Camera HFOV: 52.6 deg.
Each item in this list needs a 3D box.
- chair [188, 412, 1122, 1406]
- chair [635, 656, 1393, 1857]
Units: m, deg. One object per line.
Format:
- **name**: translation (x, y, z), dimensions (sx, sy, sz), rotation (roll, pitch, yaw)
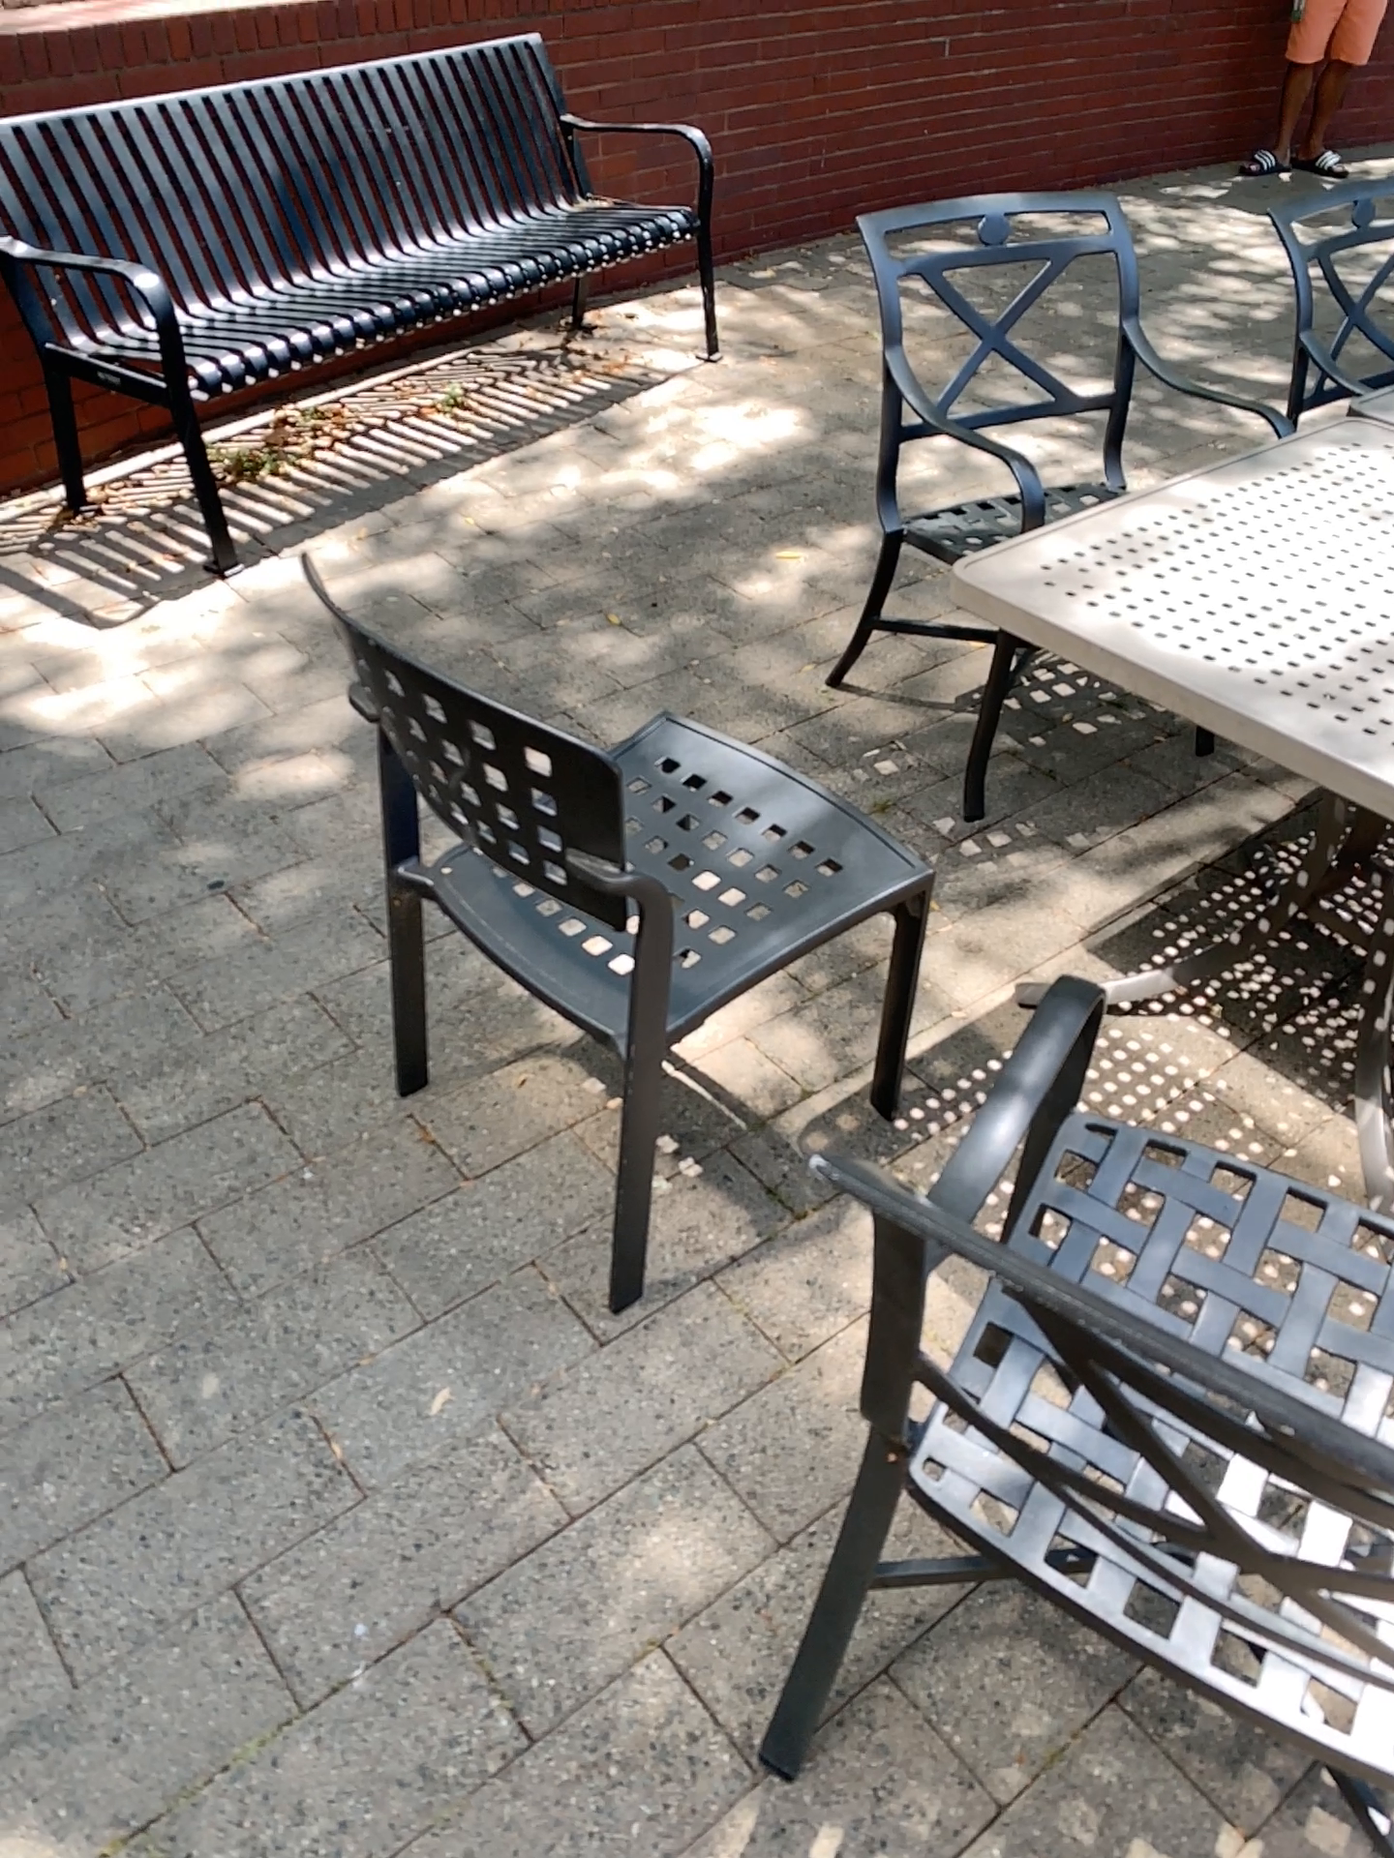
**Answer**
- **chair**: translation (-0.047, -0.069, 1.577), dimensions (0.651, 0.706, 0.623), rotation (-30, 48, -33)
- **chair**: translation (0.393, 0.355, 1.015), dimensions (0.622, 0.755, 0.652), rotation (21, 42, 22)
